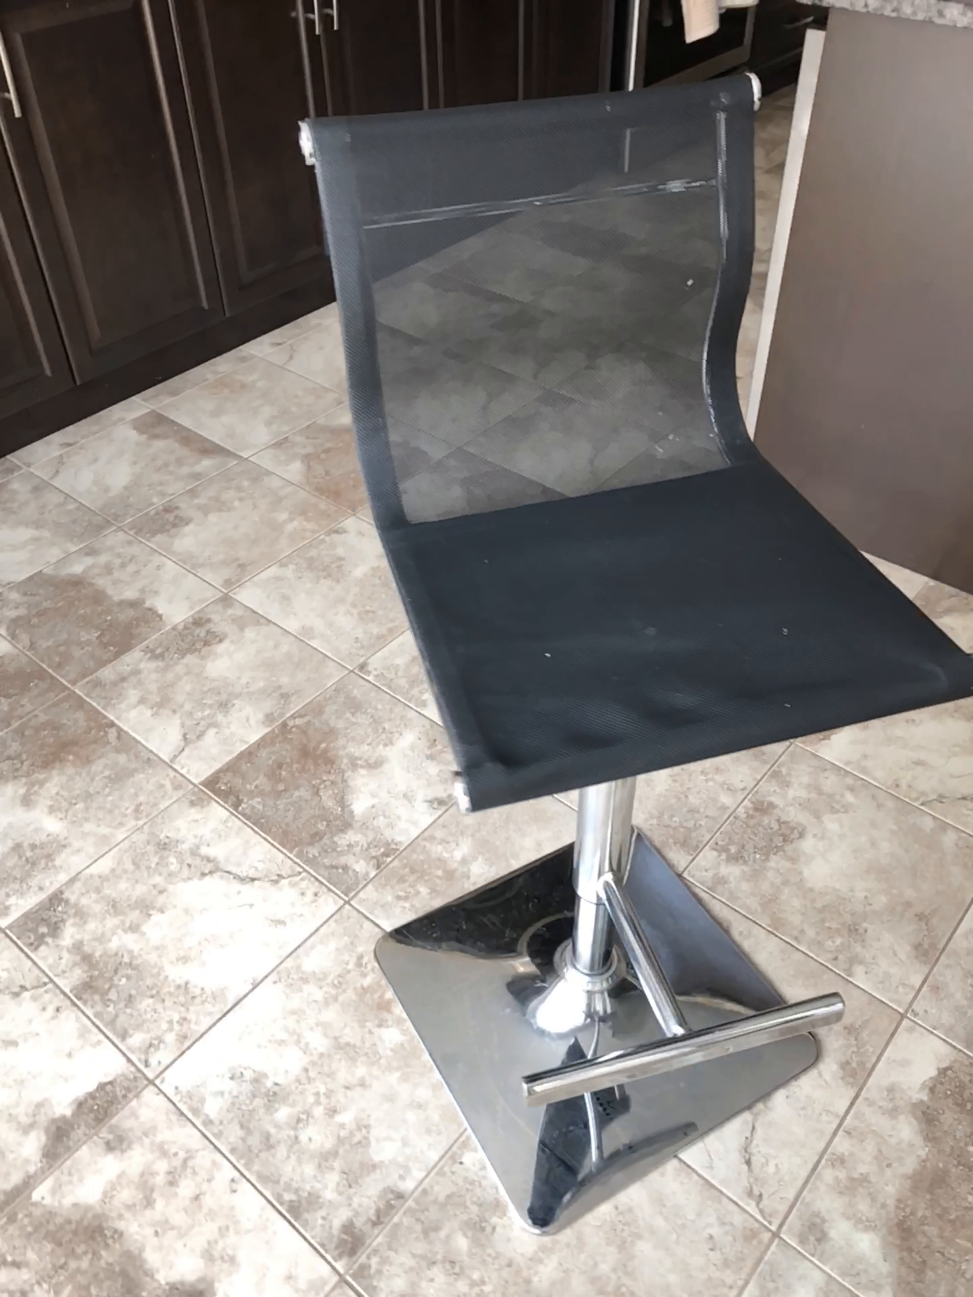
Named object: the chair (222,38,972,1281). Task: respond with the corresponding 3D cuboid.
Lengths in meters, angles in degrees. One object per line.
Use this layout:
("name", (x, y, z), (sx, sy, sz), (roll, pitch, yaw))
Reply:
("chair", (0.133, 0.051, 1.020), (0.540, 0.976, 0.552), (-11, 42, -11))
